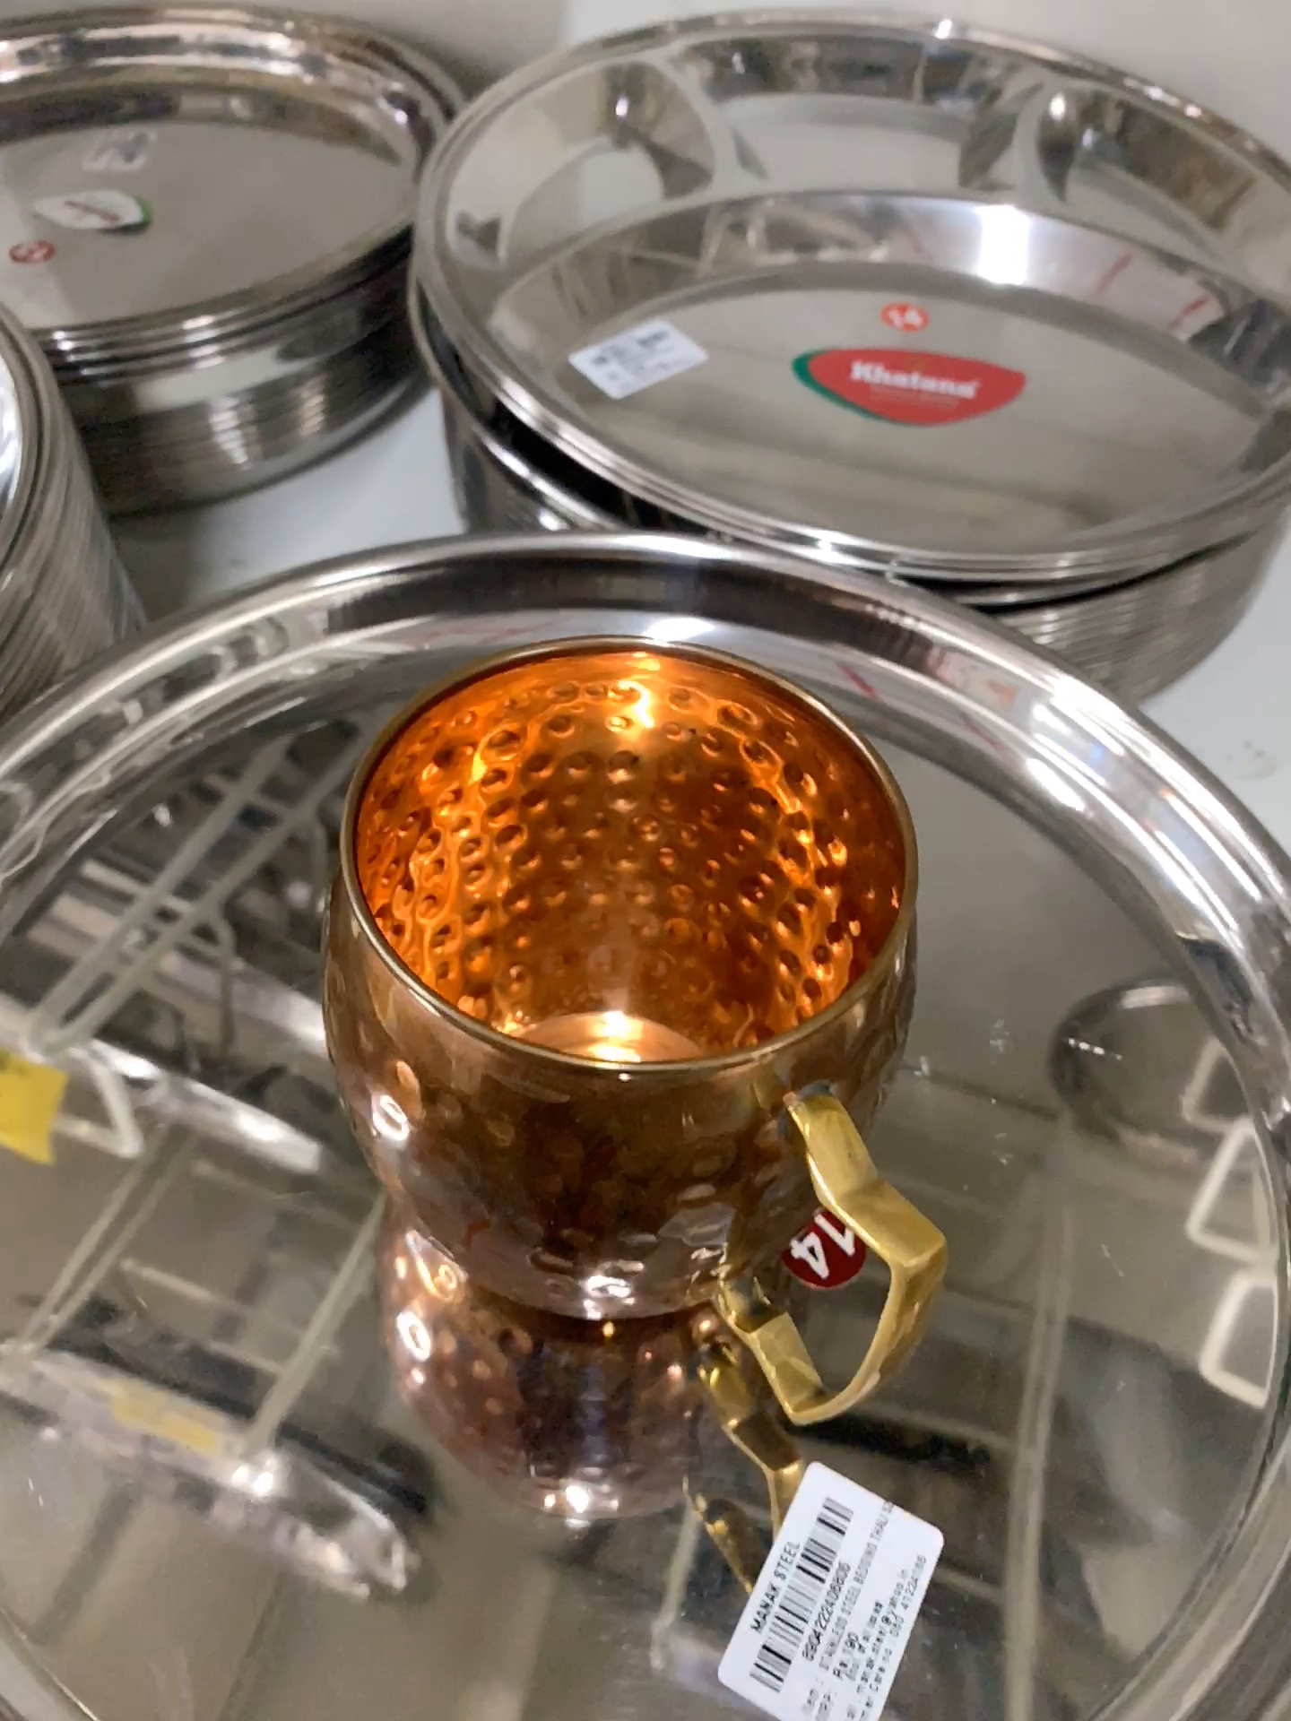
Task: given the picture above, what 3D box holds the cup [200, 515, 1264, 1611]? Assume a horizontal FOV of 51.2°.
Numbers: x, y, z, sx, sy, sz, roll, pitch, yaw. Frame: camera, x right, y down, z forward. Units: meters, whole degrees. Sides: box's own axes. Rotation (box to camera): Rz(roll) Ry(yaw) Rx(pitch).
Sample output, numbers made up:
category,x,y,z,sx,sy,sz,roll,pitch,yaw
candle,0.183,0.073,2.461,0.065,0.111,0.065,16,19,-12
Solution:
category,x,y,z,sx,sy,sz,roll,pitch,yaw
cup,0.005,0.028,0.207,0.090,0.090,0.110,-25,57,-18
